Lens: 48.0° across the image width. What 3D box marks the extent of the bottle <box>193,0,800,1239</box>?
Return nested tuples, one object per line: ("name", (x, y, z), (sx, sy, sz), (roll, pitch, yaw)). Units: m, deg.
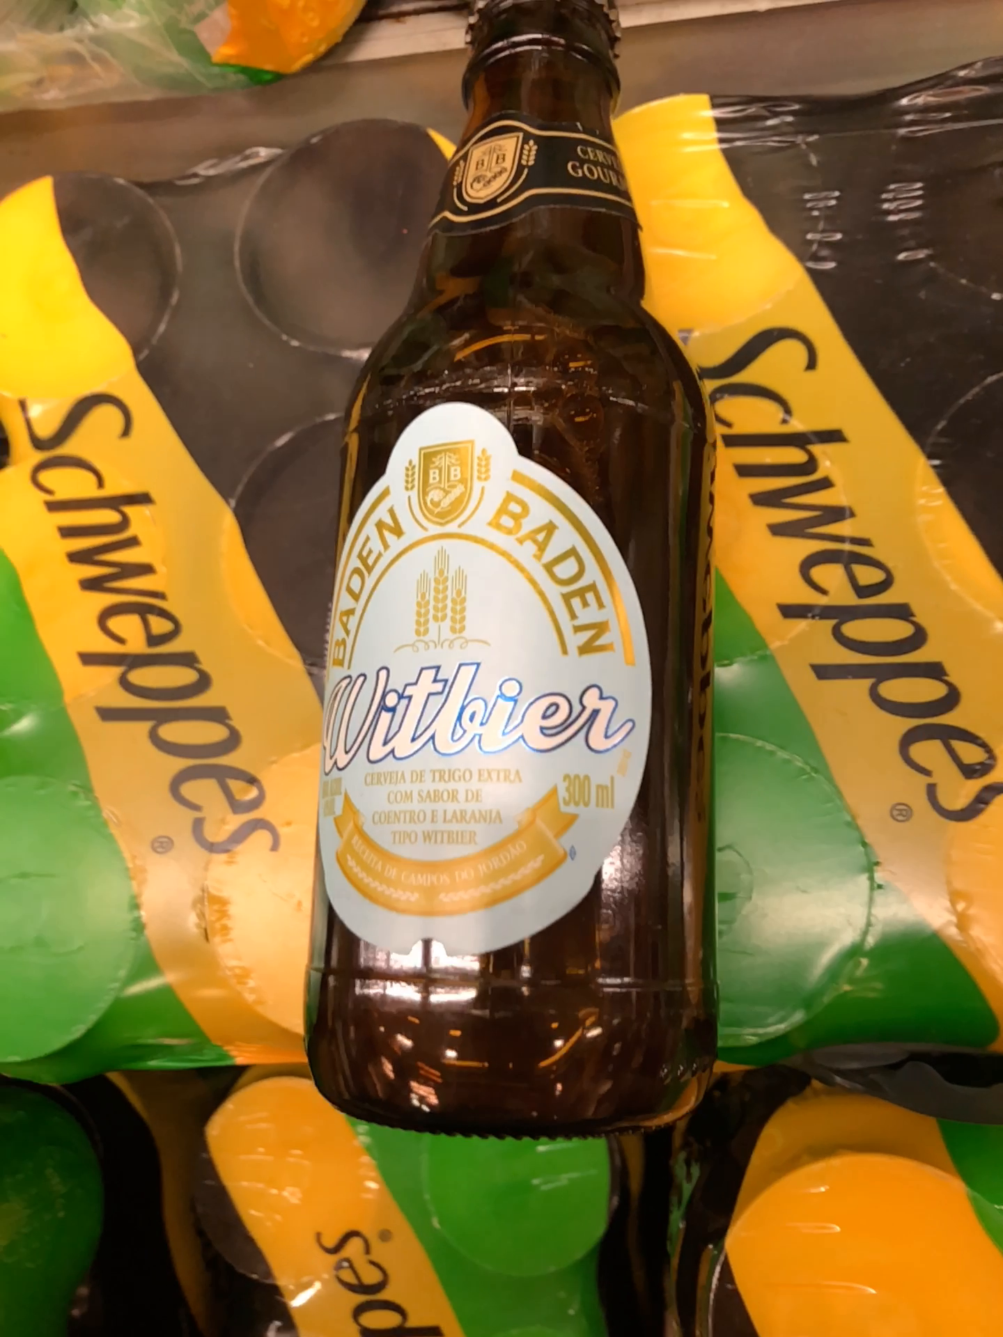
("bottle", (0.006, -0.033, 0.172), (0.070, 0.060, 0.200), (1, 82, 10))
